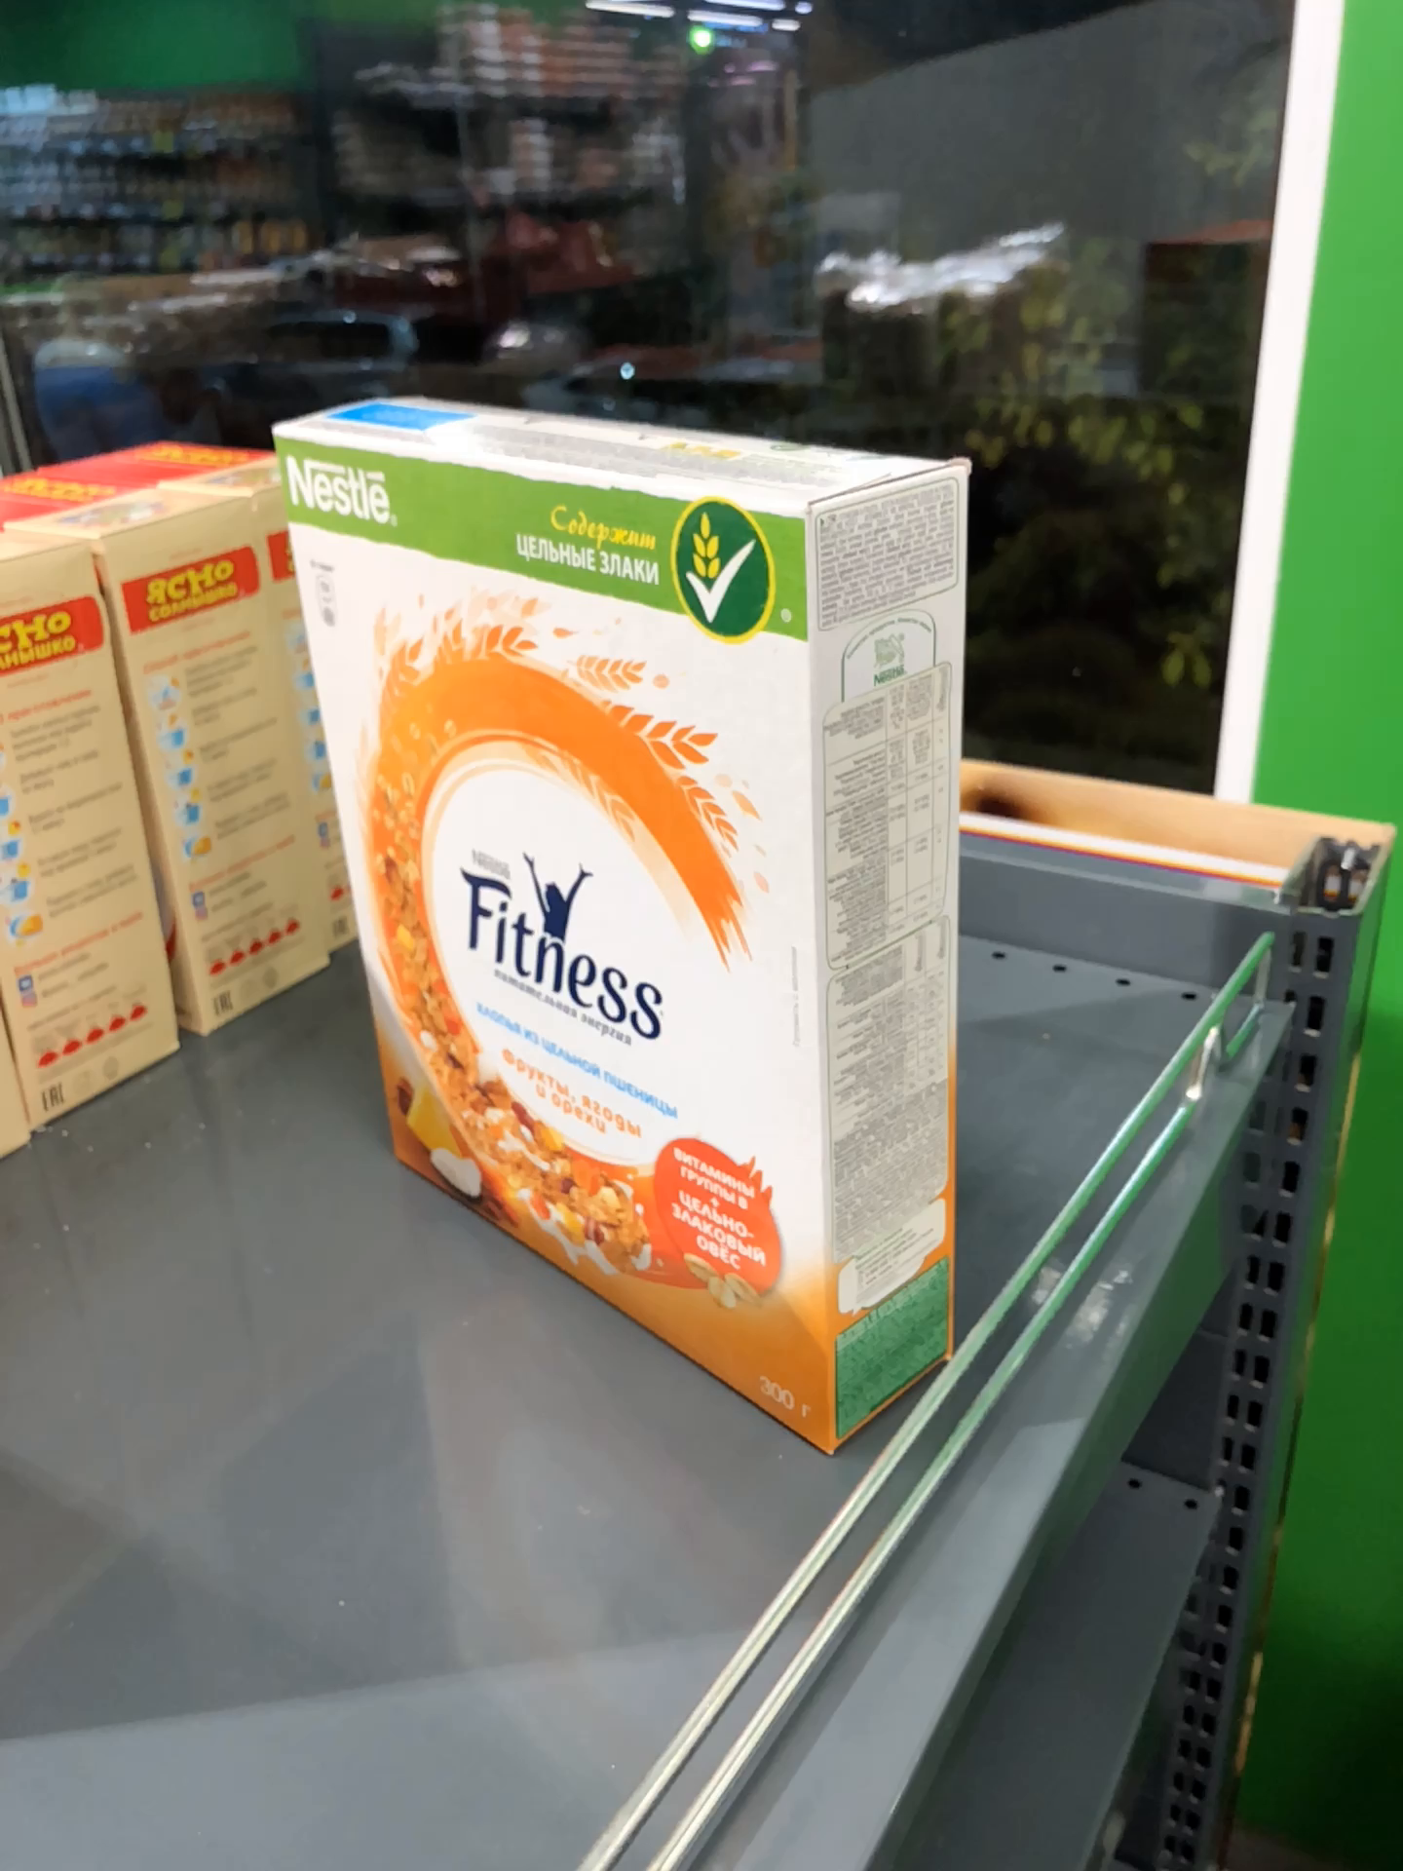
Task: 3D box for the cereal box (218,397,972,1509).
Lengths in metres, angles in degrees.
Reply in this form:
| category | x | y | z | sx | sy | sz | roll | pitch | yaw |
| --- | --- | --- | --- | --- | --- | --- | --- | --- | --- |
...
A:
| category | x | y | z | sx | sy | sz | roll | pitch | yaw |
| --- | --- | --- | --- | --- | --- | --- | --- | --- | --- |
| cereal box | -0.032 | -0.007 | 0.413 | 0.060 | 0.239 | 0.201 | -24 | 34 | -37 |
